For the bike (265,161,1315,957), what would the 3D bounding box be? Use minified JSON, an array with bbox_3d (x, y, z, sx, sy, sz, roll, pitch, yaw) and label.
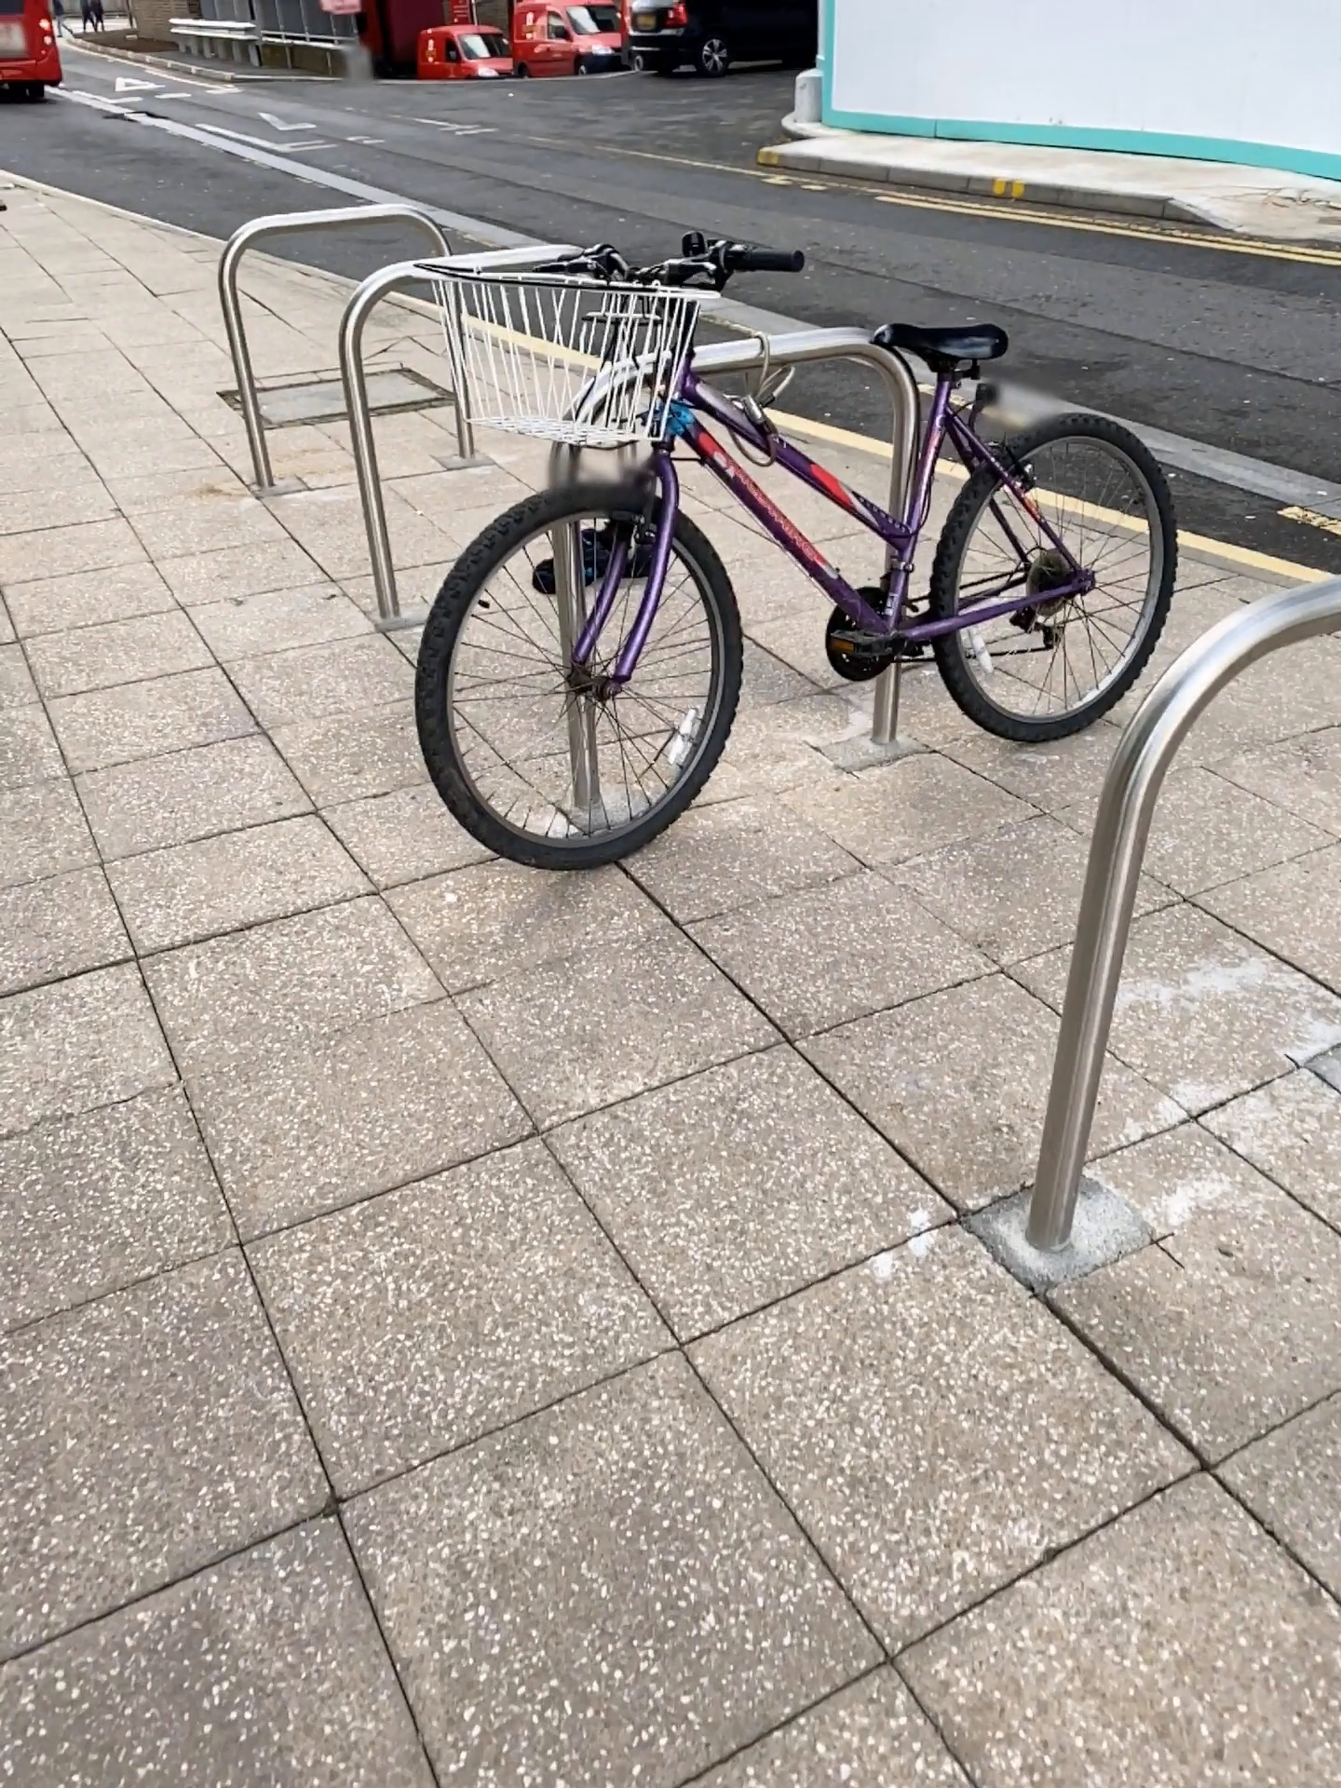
[{"bbox_3d":[0.287,-0.716,2.524,1.736,1.042,0.583,-19,37,-27],"label":"bike"}]
